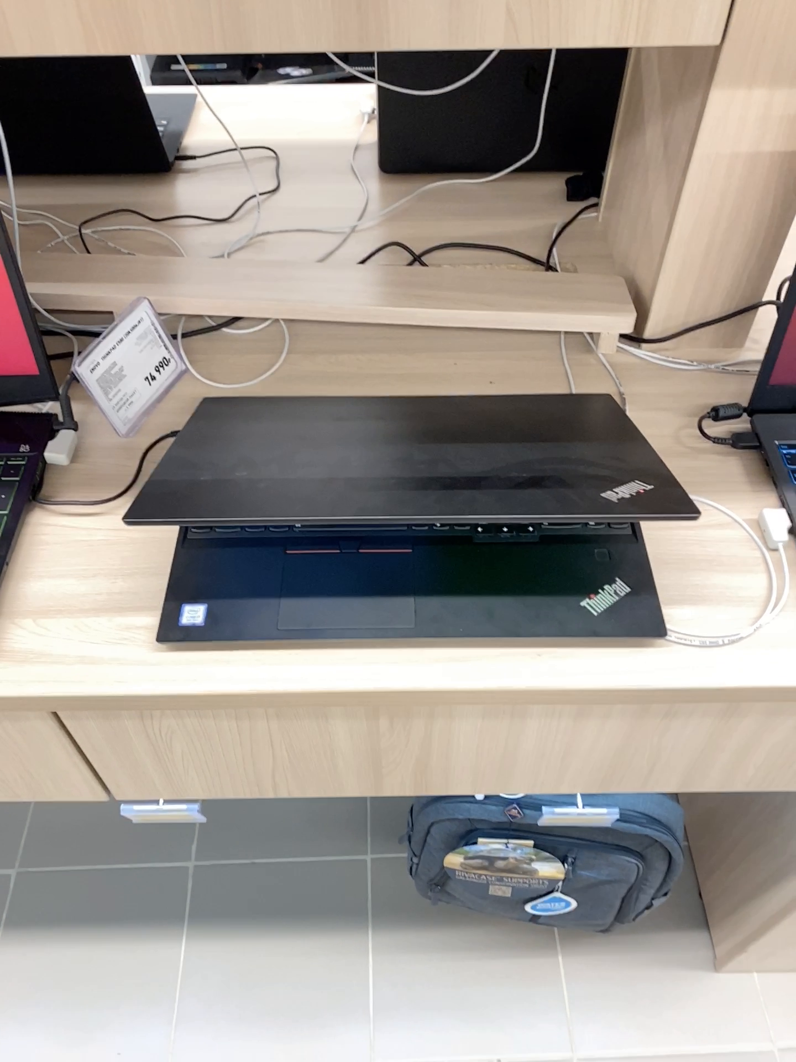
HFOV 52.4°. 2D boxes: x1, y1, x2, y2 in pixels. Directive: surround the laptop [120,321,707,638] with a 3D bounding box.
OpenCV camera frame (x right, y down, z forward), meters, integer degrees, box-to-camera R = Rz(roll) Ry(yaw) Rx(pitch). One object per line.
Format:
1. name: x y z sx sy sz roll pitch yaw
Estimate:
1. laptop: 0.009 -0.047 0.619 0.368 0.093 0.241 0 50 1
